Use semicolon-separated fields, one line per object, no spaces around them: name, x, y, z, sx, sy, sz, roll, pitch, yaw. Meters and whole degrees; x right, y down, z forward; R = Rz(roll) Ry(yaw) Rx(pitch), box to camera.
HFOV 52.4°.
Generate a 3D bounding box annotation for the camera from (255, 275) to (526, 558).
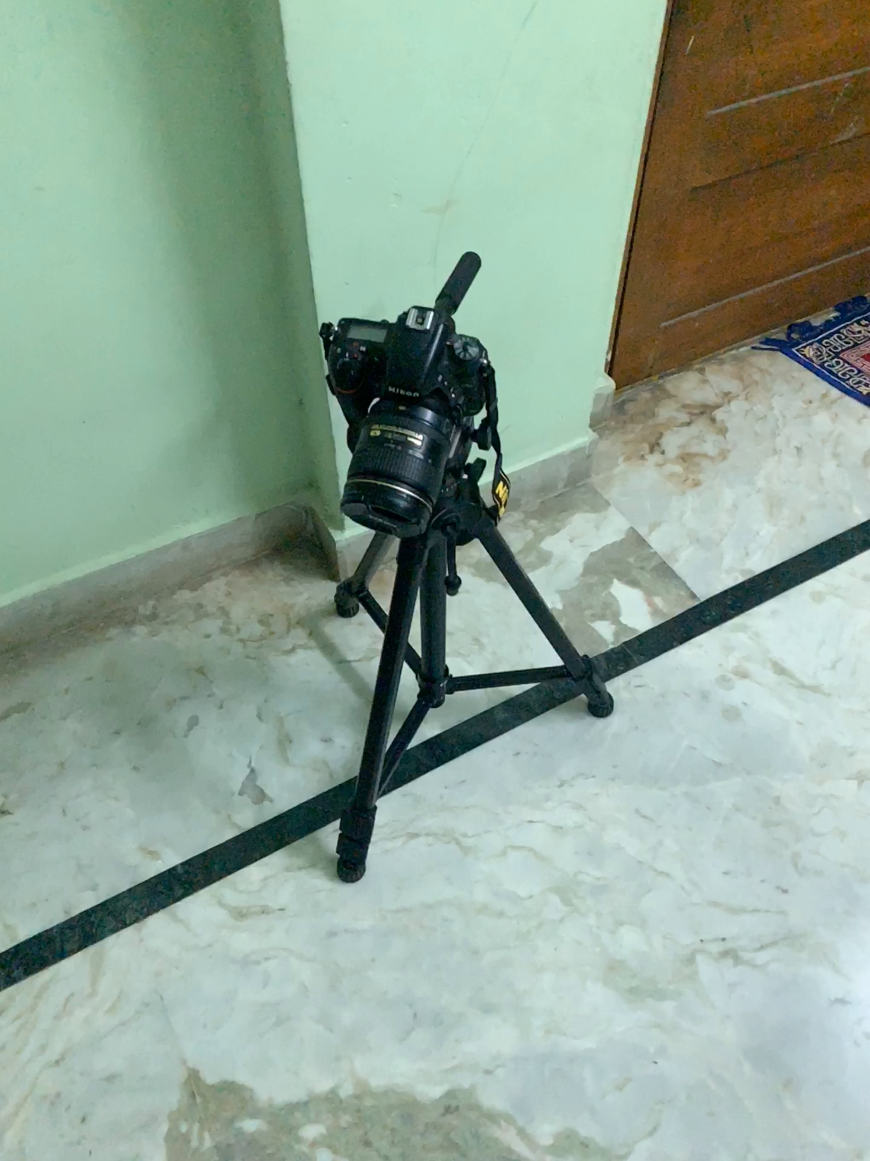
camera;-0.030;-0.139;0.760;0.170;0.110;0.180;14;75;12
